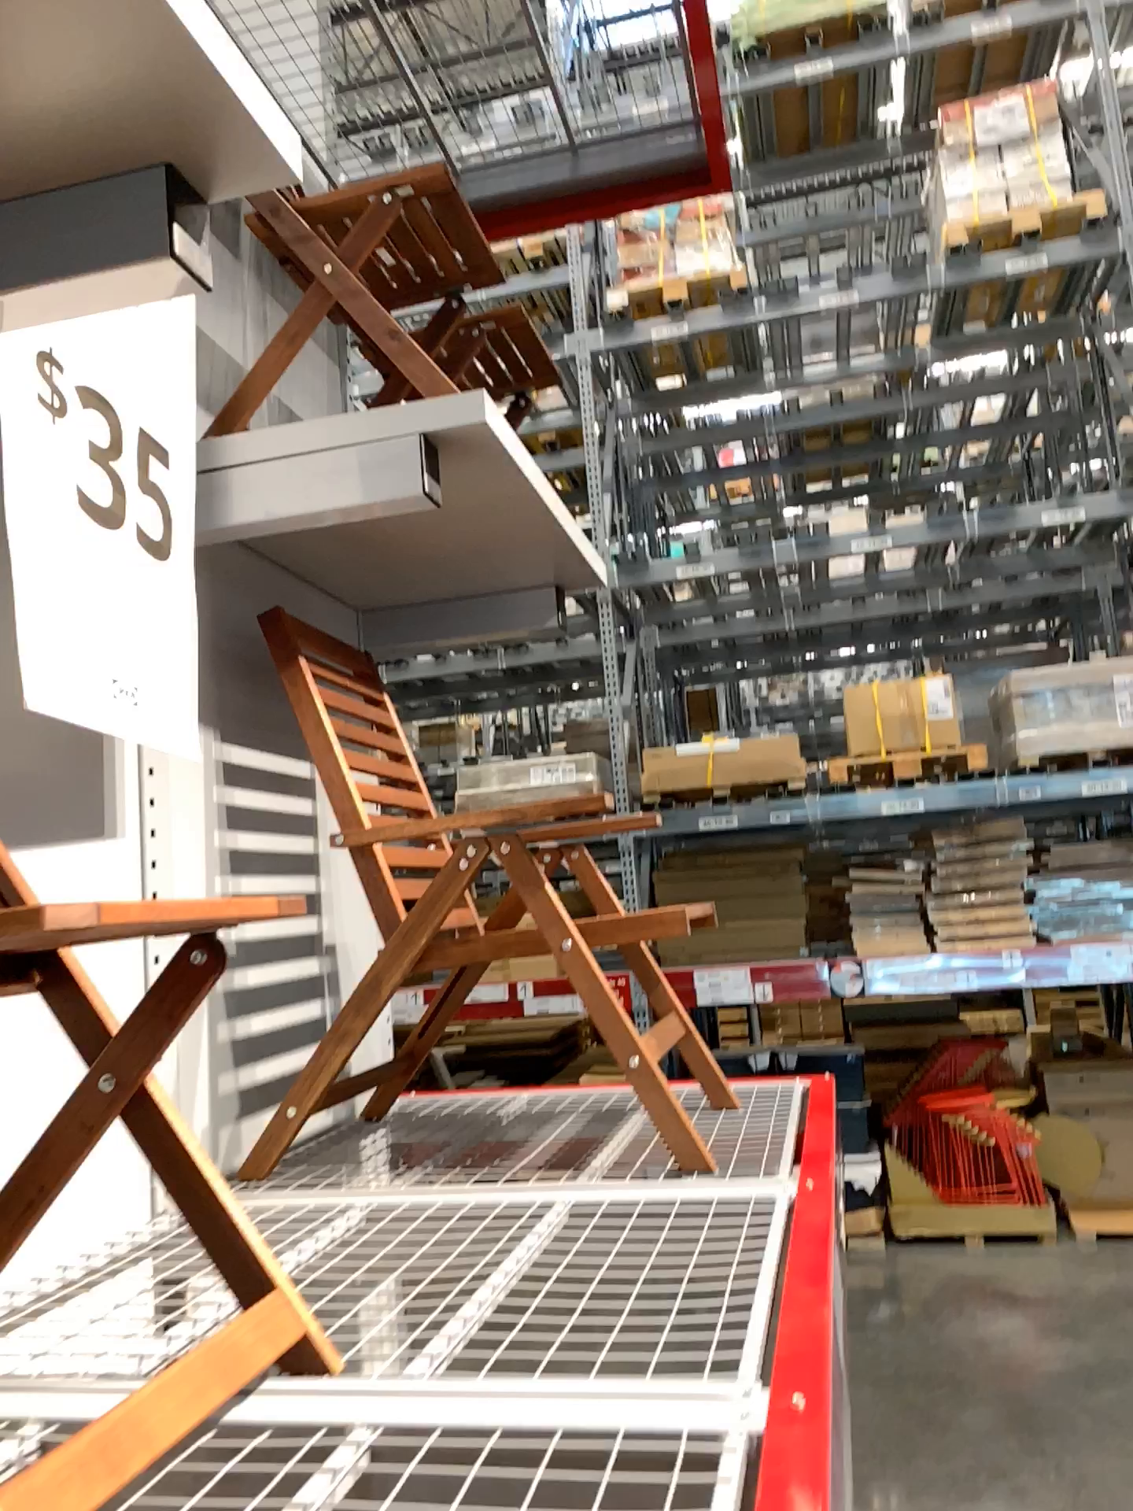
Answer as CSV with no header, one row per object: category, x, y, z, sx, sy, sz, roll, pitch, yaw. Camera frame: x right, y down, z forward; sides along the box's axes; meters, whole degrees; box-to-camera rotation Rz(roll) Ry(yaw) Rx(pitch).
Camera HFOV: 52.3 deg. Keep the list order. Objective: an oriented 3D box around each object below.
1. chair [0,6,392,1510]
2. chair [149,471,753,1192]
chair,-0.568,0.108,0.904,0.631,0.886,0.614,-6,-8,11
chair,-0.175,0.155,2.110,0.891,1.056,0.614,-6,-8,11
